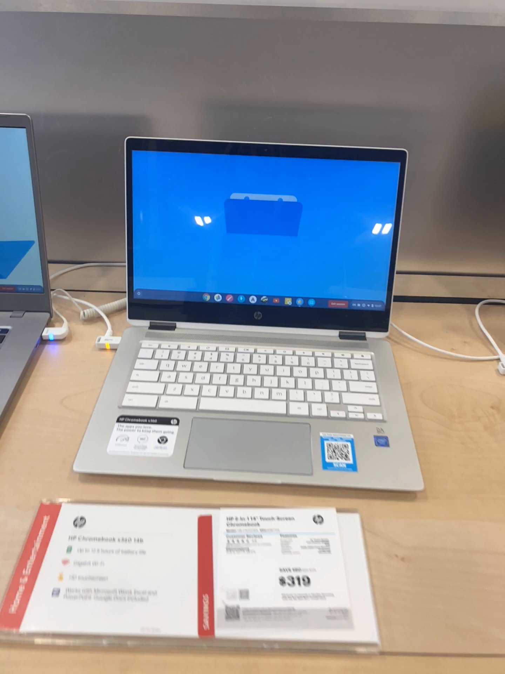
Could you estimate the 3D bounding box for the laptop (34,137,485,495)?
[{"bbox_3d":[0.008,-0.042,0.584,0.323,0.205,0.320,3,39,0],"label":"laptop"}]
